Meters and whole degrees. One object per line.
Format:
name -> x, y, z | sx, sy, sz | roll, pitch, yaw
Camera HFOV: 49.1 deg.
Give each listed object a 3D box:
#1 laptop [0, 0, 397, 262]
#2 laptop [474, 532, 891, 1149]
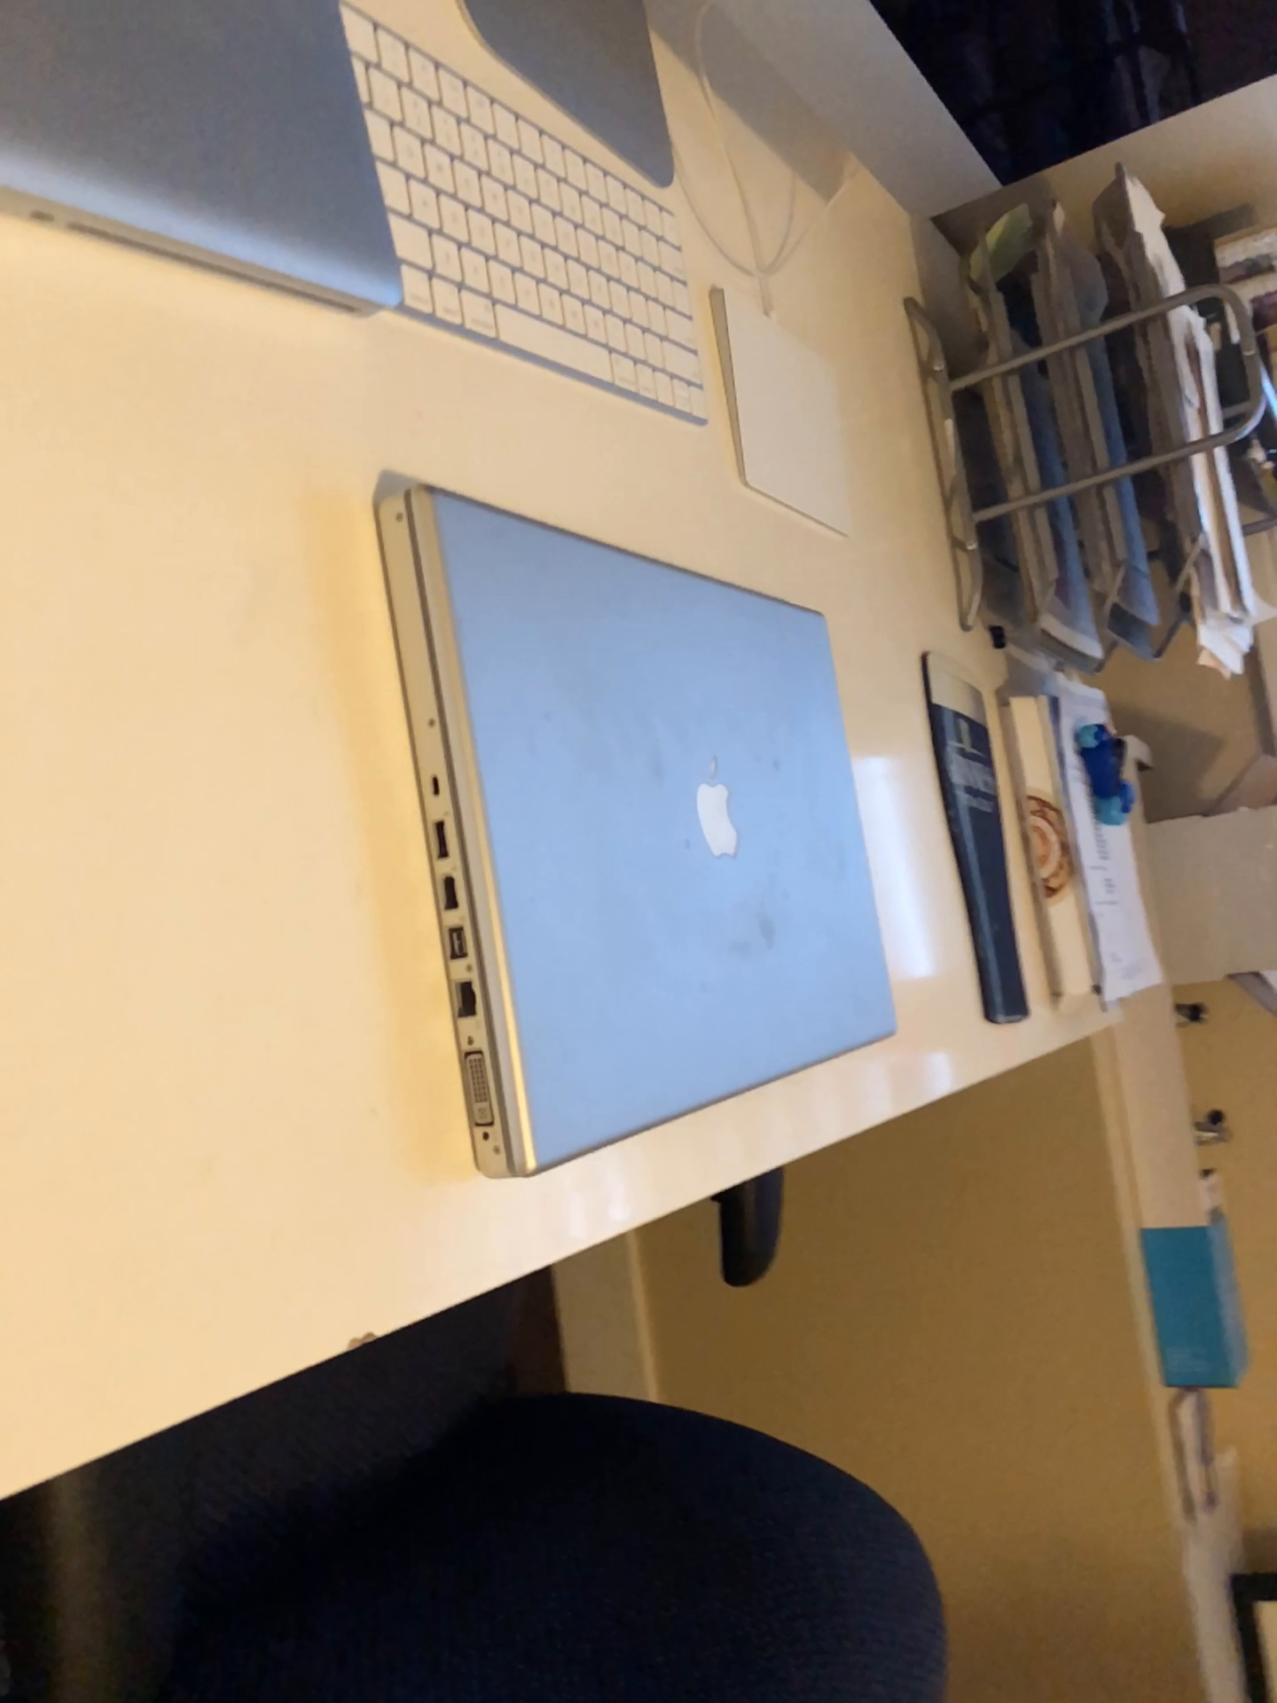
laptop -> -0.151, -0.321, 0.395 | 0.201, 0.009, 0.278 | -16, 96, -63
laptop -> 0.040, -0.012, 0.627 | 0.334, 0.005, 0.214 | -3, 85, -60
